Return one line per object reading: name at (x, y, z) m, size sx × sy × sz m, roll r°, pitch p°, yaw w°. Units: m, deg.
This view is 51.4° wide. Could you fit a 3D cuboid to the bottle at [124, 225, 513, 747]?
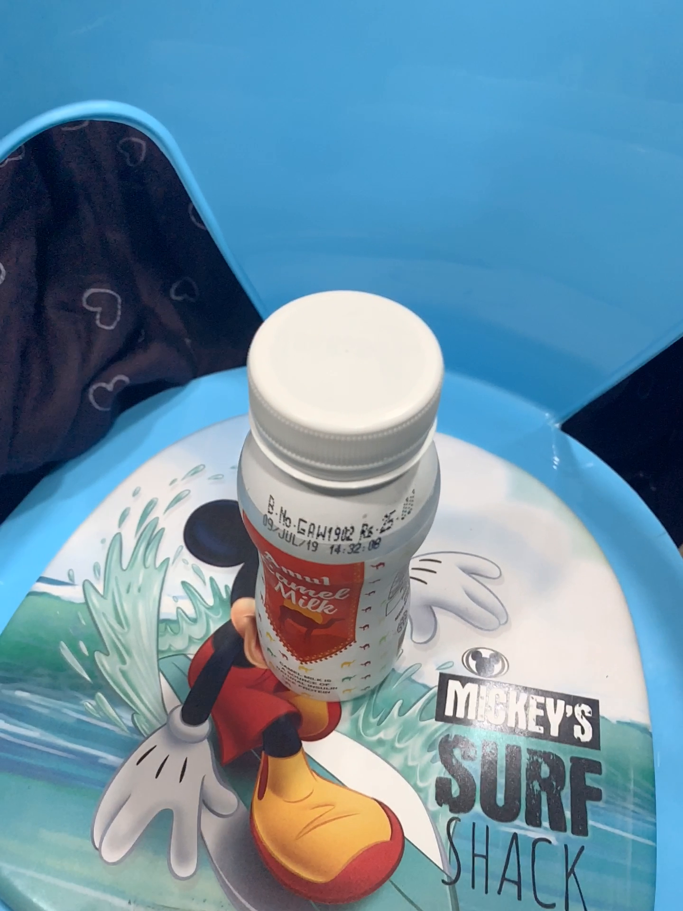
bottle at (-0.004, 0.017, 0.195) m, size 0.060 × 0.130 × 0.060 m, roll 1°, pitch 49°, yaw -2°
